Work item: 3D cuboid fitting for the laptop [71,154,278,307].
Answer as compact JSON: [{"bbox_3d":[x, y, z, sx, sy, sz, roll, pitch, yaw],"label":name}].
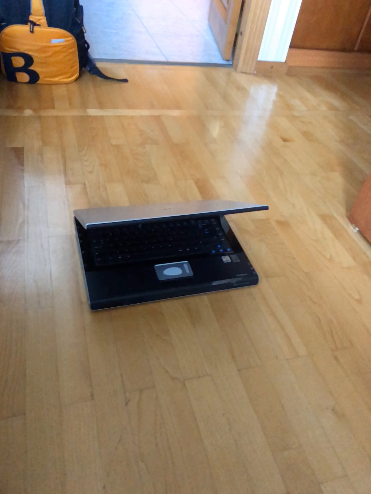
[{"bbox_3d":[-0.040,-0.054,0.877,0.362,0.147,0.269,-7,46,-19],"label":"laptop"}]
